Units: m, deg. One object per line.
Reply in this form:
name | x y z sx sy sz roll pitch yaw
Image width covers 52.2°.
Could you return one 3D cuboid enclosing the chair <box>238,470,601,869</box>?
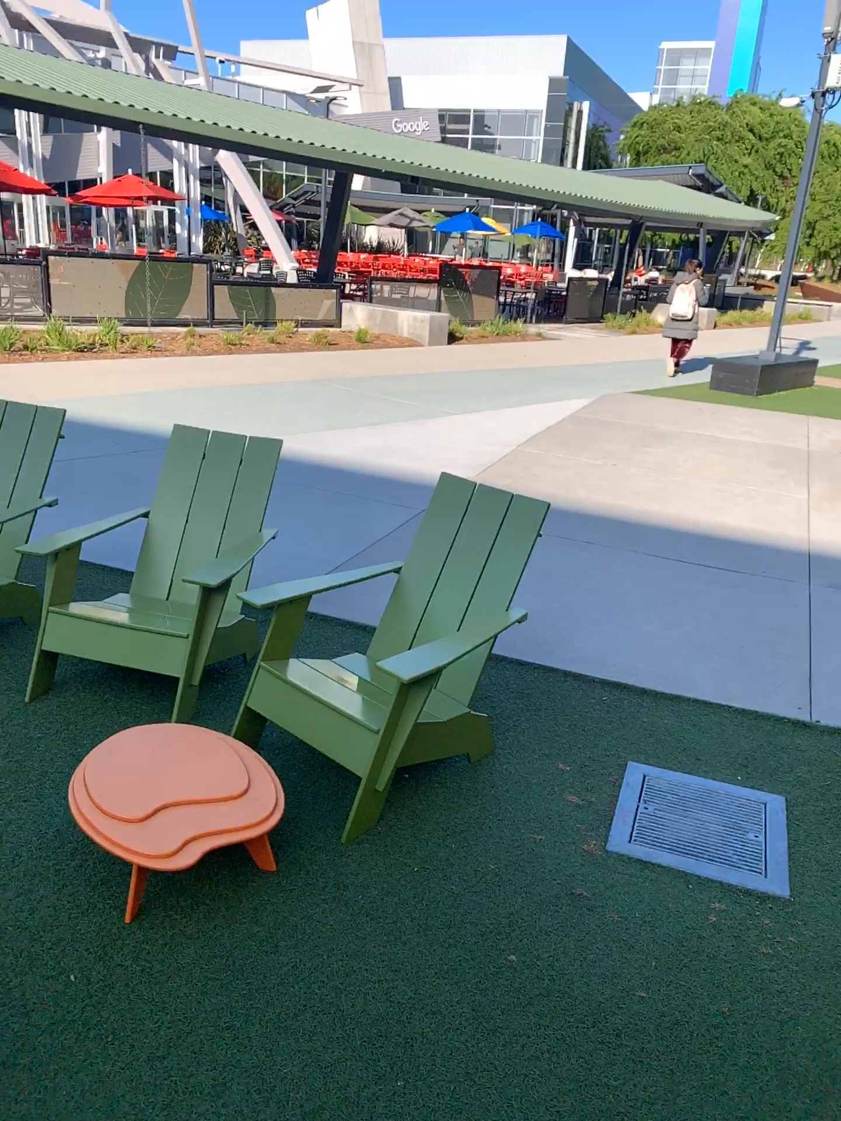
chair | -0.023 0.262 2.746 0.851 0.856 0.712 -15 27 -41
